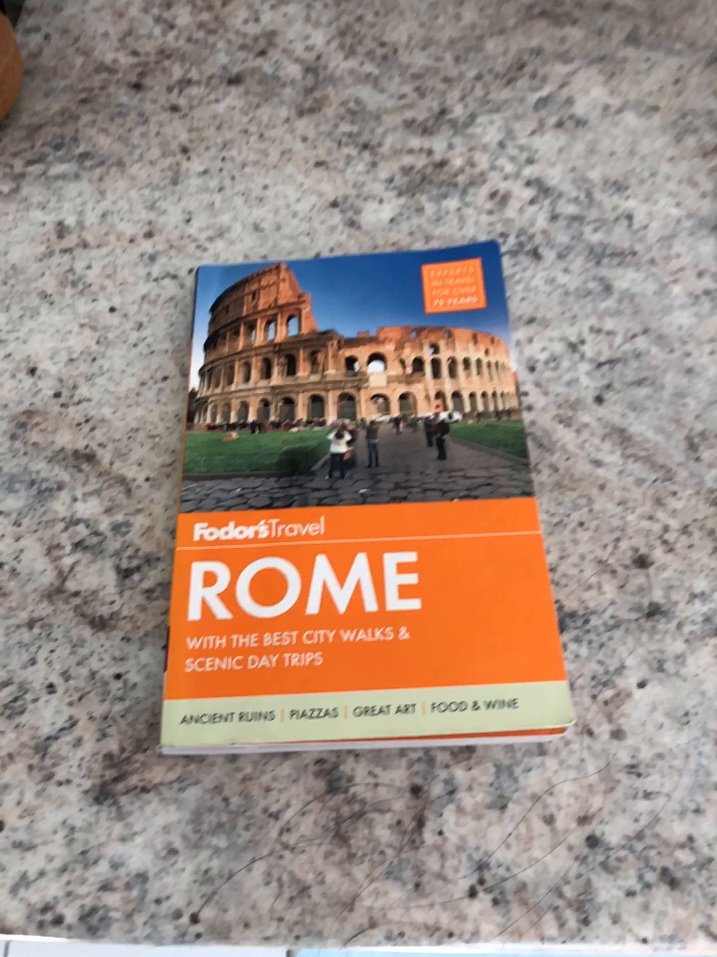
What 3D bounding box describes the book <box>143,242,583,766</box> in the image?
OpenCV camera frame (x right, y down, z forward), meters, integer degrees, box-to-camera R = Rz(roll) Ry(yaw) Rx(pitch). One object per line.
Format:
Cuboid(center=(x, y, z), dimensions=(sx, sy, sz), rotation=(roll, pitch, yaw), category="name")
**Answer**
Cuboid(center=(-0.002, -0.002, 0.310), dimensions=(0.139, 0.024, 0.208), rotation=(-3, 62, 2), category="book")
